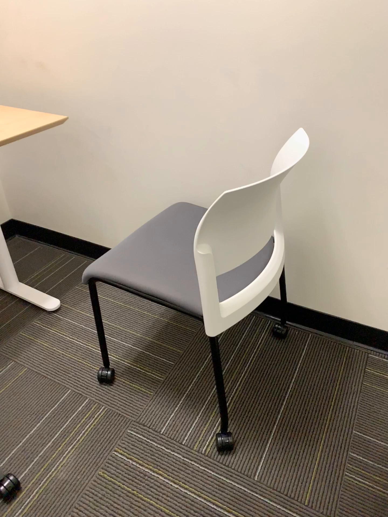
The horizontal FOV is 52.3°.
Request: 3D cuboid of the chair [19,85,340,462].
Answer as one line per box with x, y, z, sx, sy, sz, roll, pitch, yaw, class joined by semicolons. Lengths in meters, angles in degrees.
0.011;-0.002;1.177;0.541;0.805;0.602;17;38;24;chair
